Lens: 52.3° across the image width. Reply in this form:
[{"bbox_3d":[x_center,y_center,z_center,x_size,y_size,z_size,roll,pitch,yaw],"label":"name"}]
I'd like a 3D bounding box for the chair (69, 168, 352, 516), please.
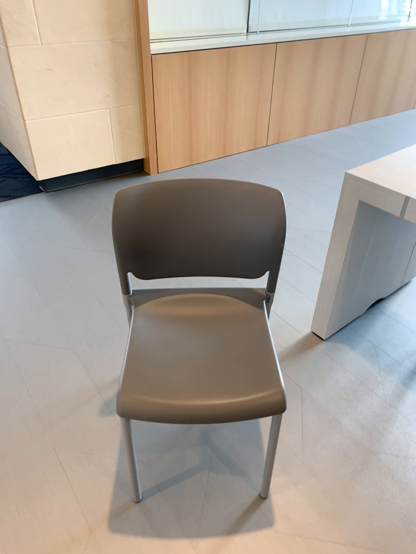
[{"bbox_3d":[-0.015,0.178,1.208,0.500,0.783,0.575,-1,36,-4],"label":"chair"}]
